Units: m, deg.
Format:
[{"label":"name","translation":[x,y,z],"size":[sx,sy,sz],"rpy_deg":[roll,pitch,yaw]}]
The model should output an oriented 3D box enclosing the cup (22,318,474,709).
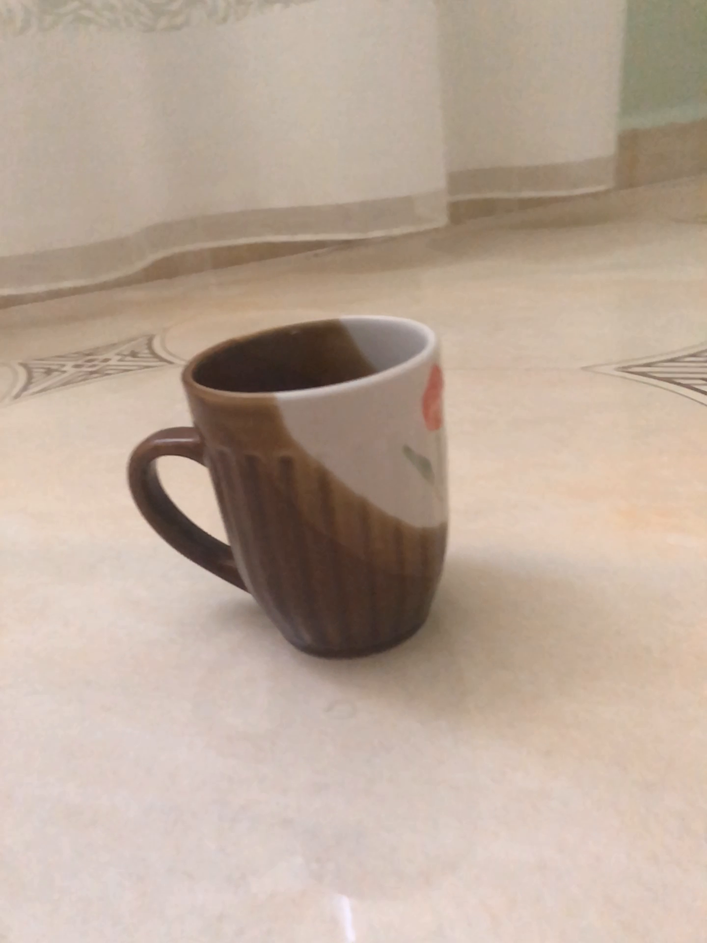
[{"label":"cup","translation":[-0.027,0.004,0.247],"size":[0.103,0.086,0.076],"rpy_deg":[5,27,28]}]
